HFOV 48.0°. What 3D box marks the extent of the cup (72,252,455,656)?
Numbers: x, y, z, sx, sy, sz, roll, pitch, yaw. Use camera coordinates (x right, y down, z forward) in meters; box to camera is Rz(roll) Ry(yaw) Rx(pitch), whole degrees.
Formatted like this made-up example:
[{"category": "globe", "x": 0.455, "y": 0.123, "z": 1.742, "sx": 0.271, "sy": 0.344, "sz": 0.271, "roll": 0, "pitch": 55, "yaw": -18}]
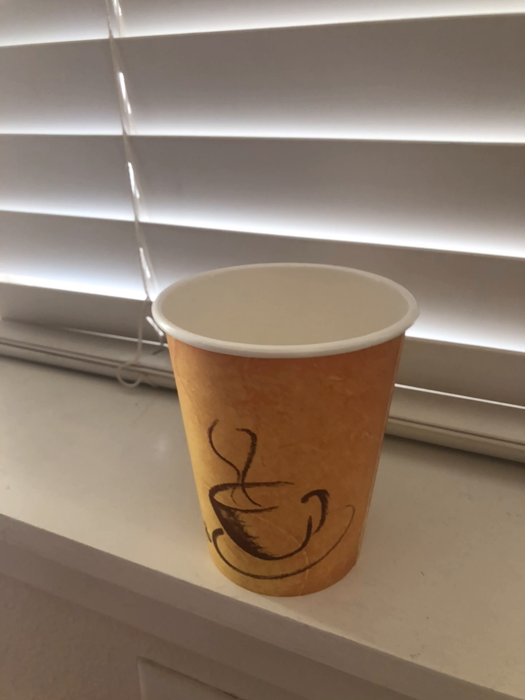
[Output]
[{"category": "cup", "x": 0.006, "y": 0.023, "z": 0.214, "sx": 0.095, "sy": 0.088, "sz": 0.094, "roll": 0, "pitch": 23, "yaw": 0}]
